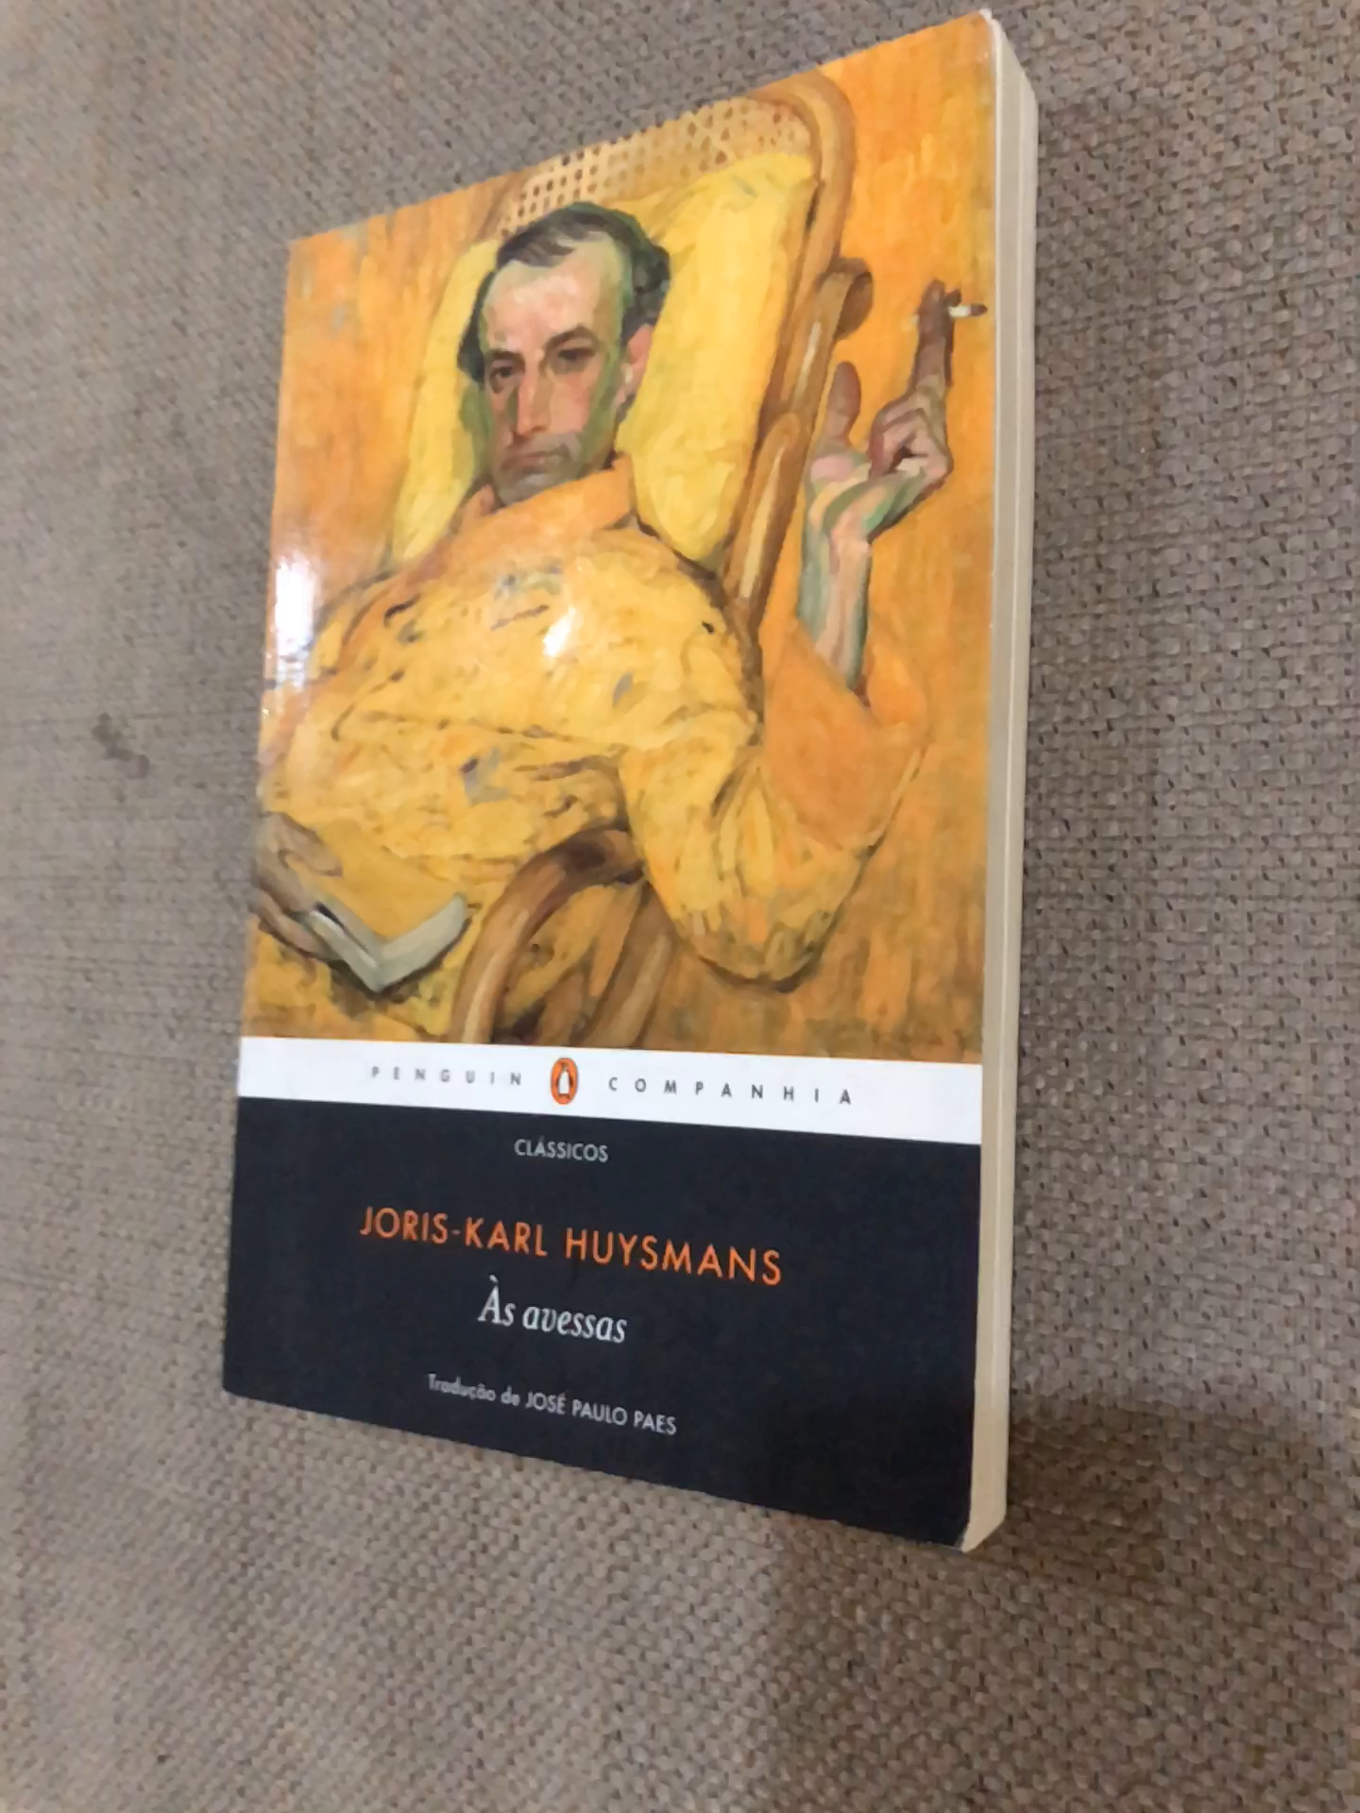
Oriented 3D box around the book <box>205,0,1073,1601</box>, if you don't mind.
[{"bbox_3d":[-0.011,-0.016,0.226,0.130,0.023,0.195,0,85,32],"label":"book"}]
